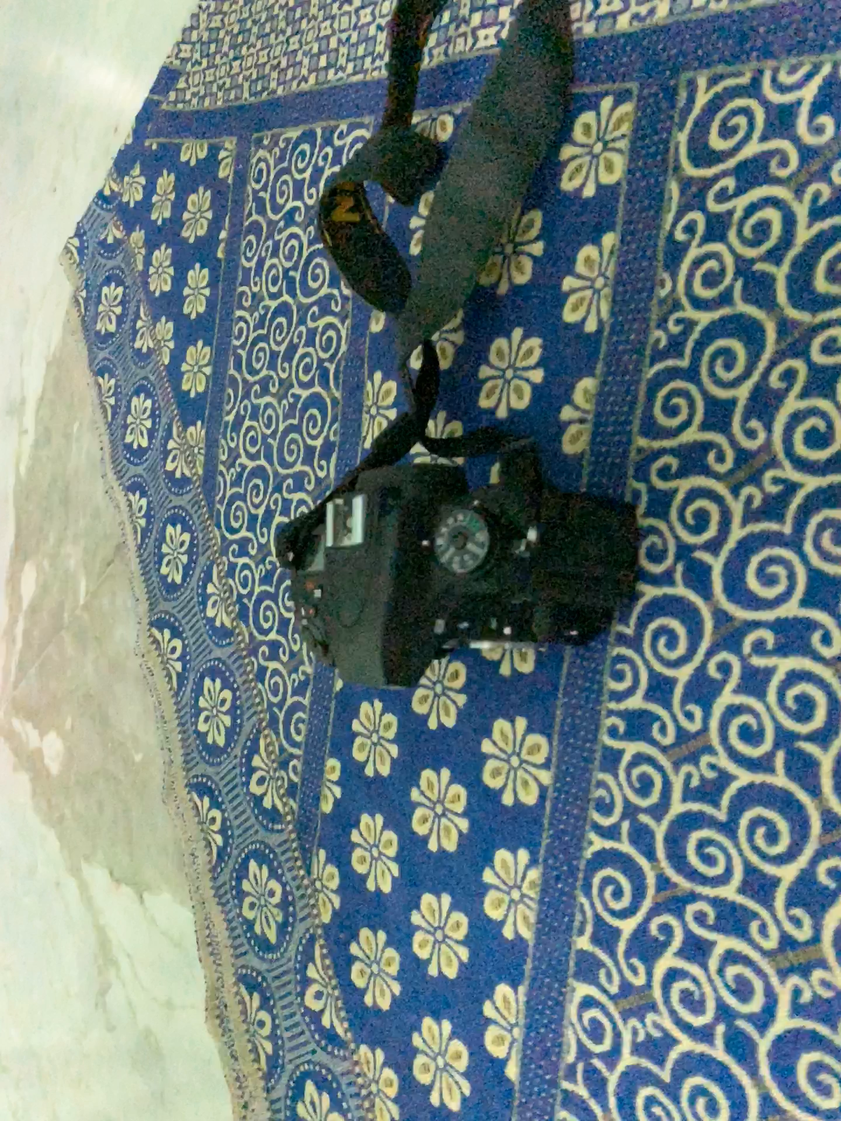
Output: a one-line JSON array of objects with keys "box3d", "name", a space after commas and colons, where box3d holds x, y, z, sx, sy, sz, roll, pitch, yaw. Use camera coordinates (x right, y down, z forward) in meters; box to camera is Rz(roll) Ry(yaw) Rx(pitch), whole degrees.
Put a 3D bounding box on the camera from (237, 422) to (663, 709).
[{"box3d": [0.004, 0.010, 0.346, 0.151, 0.089, 0.088, -7, 82, 47], "name": "camera"}]
